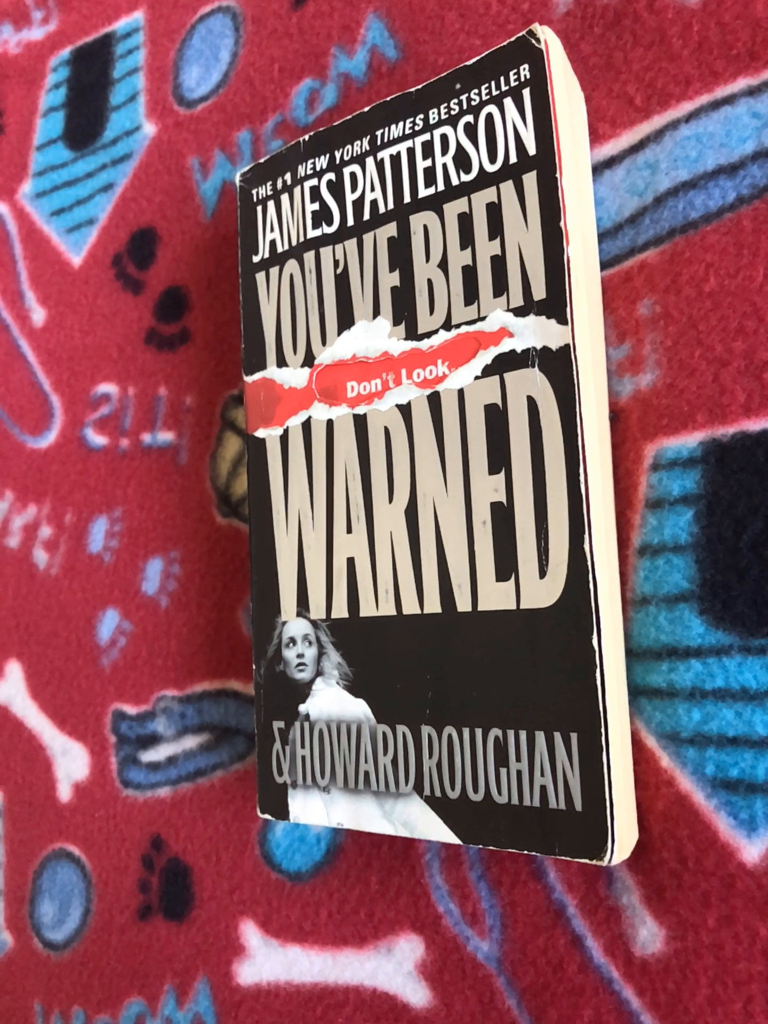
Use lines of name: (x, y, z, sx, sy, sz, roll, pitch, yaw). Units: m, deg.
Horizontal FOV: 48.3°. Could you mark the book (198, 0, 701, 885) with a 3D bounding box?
book: (0.011, -0.014, 0.225, 0.110, 0.040, 0.190, -7, 86, 34)
